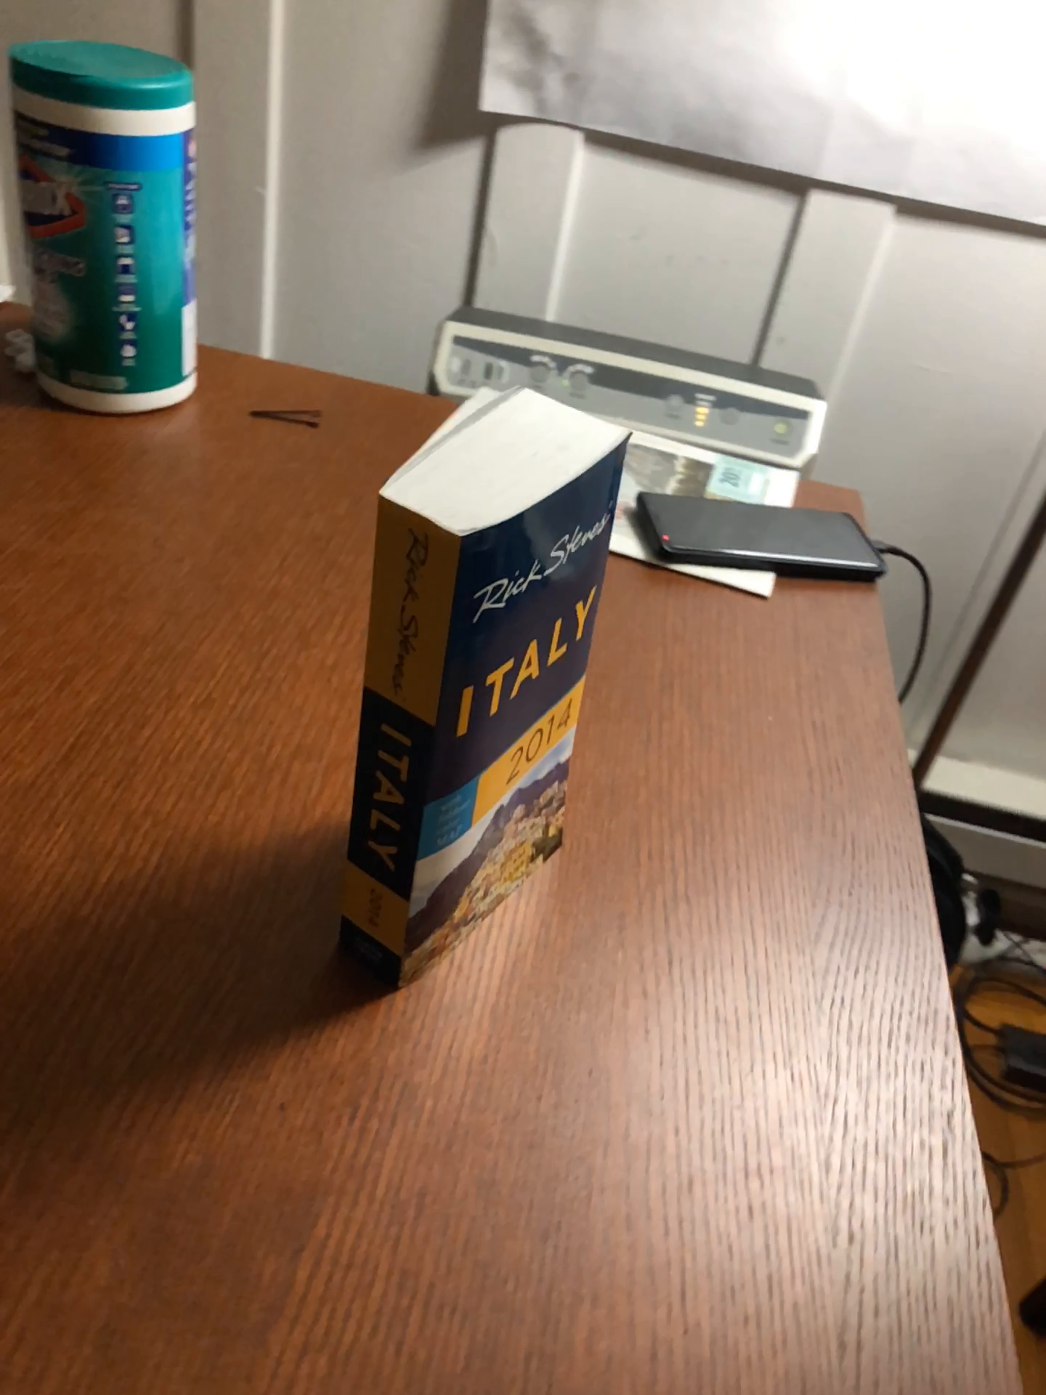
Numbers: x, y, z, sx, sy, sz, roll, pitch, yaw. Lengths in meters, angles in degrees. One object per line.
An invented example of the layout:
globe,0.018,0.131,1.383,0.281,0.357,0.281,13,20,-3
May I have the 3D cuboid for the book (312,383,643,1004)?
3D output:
book,-0.020,-0.002,0.446,0.050,0.199,0.131,23,37,21
